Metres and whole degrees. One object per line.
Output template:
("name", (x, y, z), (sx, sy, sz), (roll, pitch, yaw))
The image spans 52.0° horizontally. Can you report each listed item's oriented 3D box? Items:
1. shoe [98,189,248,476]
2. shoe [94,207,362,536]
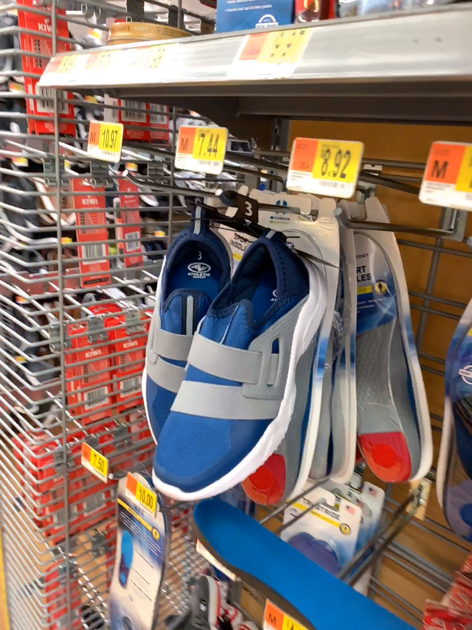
("shoe", (-0.051, 0.016, 0.470), (0.095, 0.246, 0.098), (5, -11, 6))
("shoe", (0.005, 0.041, 0.402), (0.101, 0.233, 0.098), (16, -18, 33))
